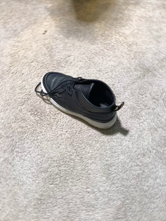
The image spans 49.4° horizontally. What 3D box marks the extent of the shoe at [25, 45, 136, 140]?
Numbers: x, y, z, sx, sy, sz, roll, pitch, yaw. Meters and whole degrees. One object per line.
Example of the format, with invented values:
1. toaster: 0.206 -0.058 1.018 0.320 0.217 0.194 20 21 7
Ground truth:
1. shoe: -0.009 -0.047 0.497 0.262 0.111 0.107 32 73 12
